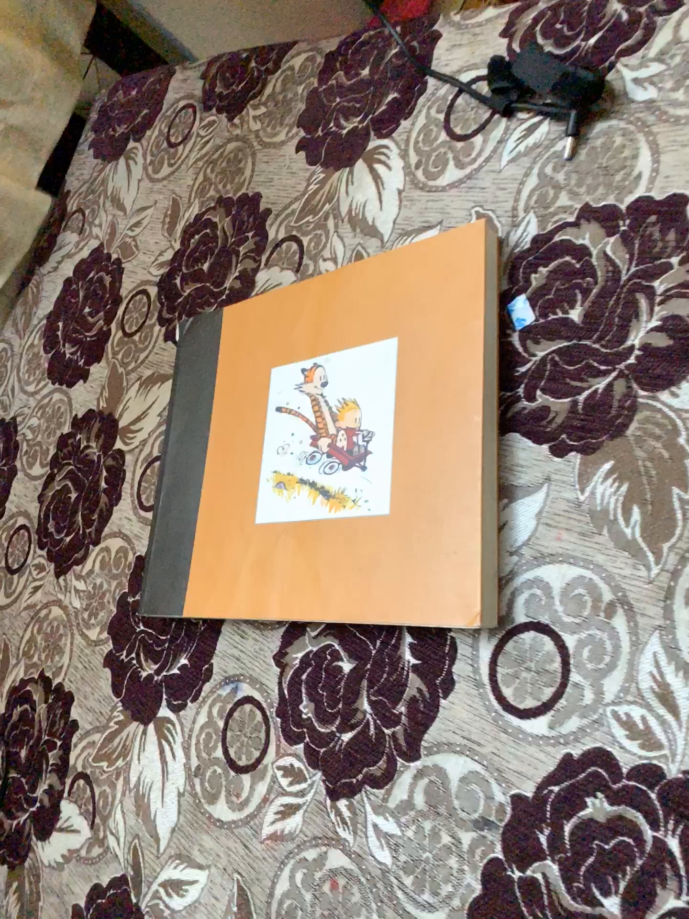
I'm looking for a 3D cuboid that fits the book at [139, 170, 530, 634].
[{"bbox_3d":[-0.014,-0.025,0.470,0.271,0.040,0.261,-8,69,36],"label":"book"}]
